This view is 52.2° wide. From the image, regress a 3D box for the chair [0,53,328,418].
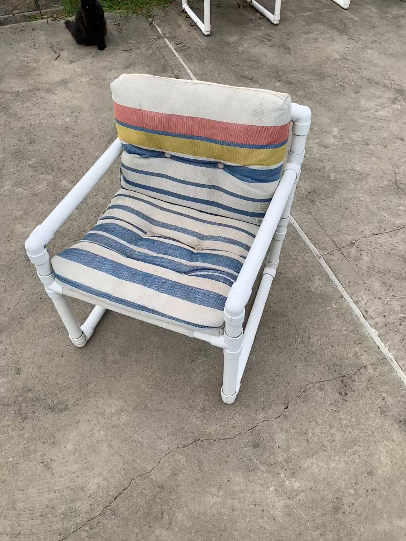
[{"bbox_3d":[-0.093,-0.107,1.249,0.651,0.687,0.672,17,54,14],"label":"chair"}]
